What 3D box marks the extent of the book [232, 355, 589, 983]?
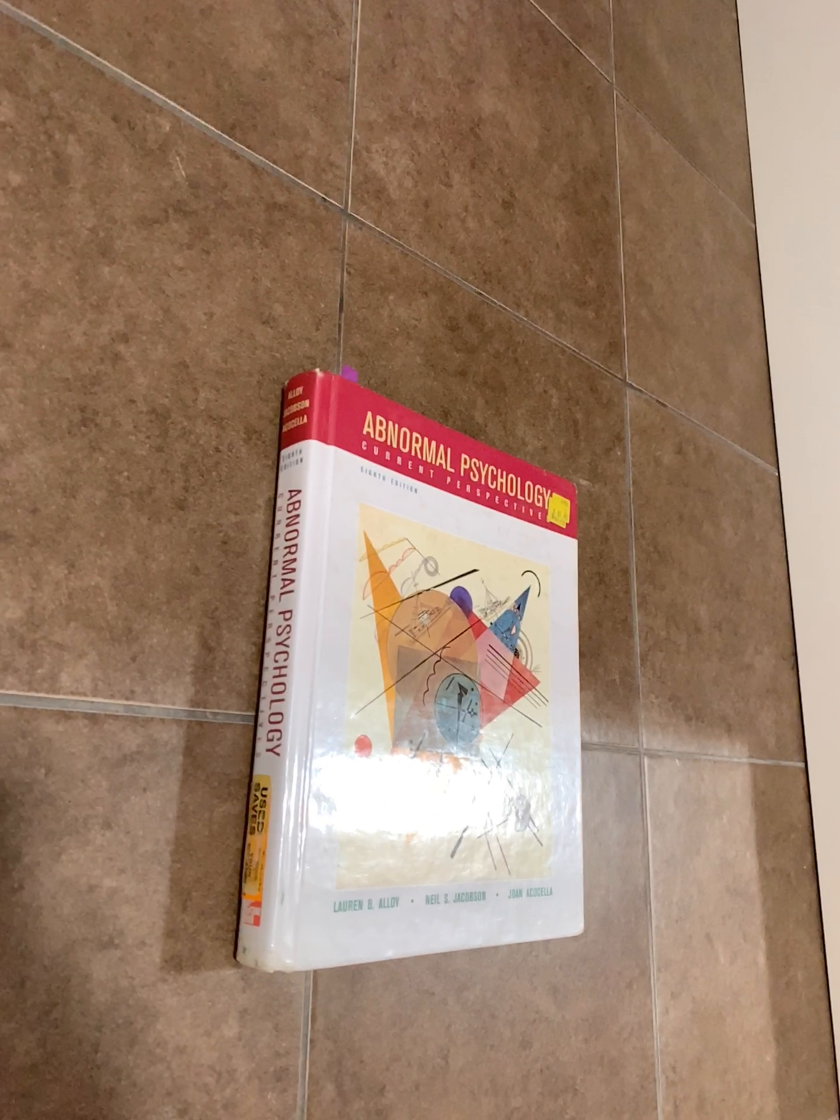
[{"bbox_3d":[0.013,0.062,0.478,0.224,0.031,0.288,16,69,-42],"label":"book"}]
